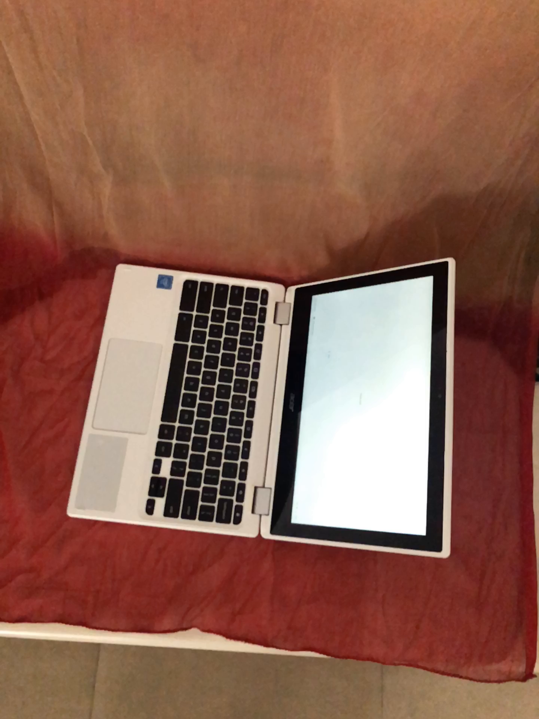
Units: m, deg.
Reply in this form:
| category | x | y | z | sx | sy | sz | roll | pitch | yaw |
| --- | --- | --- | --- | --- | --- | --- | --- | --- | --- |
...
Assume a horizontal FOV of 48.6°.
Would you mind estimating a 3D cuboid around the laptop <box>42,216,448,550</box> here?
| category | x | y | z | sx | sy | sz | roll | pitch | yaw |
| --- | --- | --- | --- | --- | --- | --- | --- | --- | --- |
| laptop | -0.011 | 0.028 | 0.589 | 0.337 | 0.113 | 0.263 | 8 | 73 | -1 |
